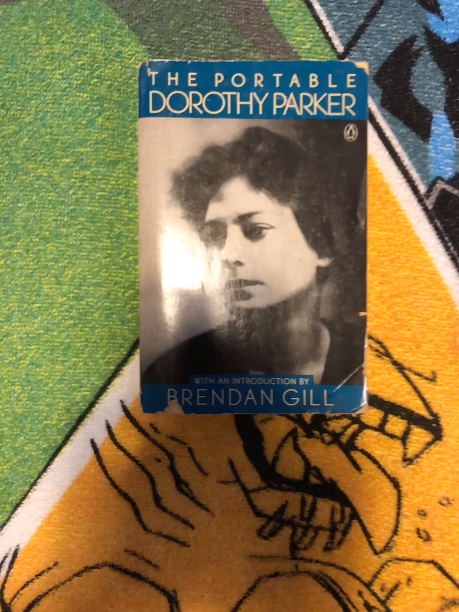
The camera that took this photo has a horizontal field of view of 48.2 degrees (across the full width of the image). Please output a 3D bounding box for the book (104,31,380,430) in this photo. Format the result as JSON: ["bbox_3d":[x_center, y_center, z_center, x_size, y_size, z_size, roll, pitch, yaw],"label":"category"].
[{"bbox_3d":[0.007,-0.038,0.283,0.140,0.040,0.200,-1,92,-4],"label":"book"}]
